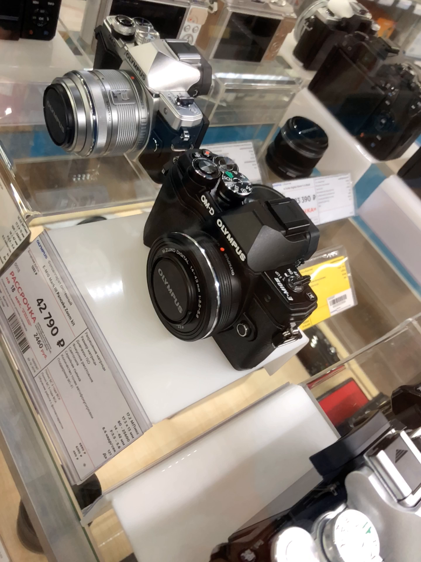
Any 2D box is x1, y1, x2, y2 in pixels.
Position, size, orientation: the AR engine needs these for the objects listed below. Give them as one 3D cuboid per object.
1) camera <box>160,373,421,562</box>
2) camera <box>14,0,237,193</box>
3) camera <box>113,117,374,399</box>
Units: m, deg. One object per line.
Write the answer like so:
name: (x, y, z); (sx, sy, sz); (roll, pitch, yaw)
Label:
camera: (0.065, 0.116, 0.187); (0.124, 0.074, 0.094); (-18, 63, -39)
camera: (-0.063, -0.132, 0.318); (0.094, 0.080, 0.112); (-13, 60, -37)
camera: (0.010, -0.017, 0.269); (0.064, 0.082, 0.129); (-13, 60, -37)
